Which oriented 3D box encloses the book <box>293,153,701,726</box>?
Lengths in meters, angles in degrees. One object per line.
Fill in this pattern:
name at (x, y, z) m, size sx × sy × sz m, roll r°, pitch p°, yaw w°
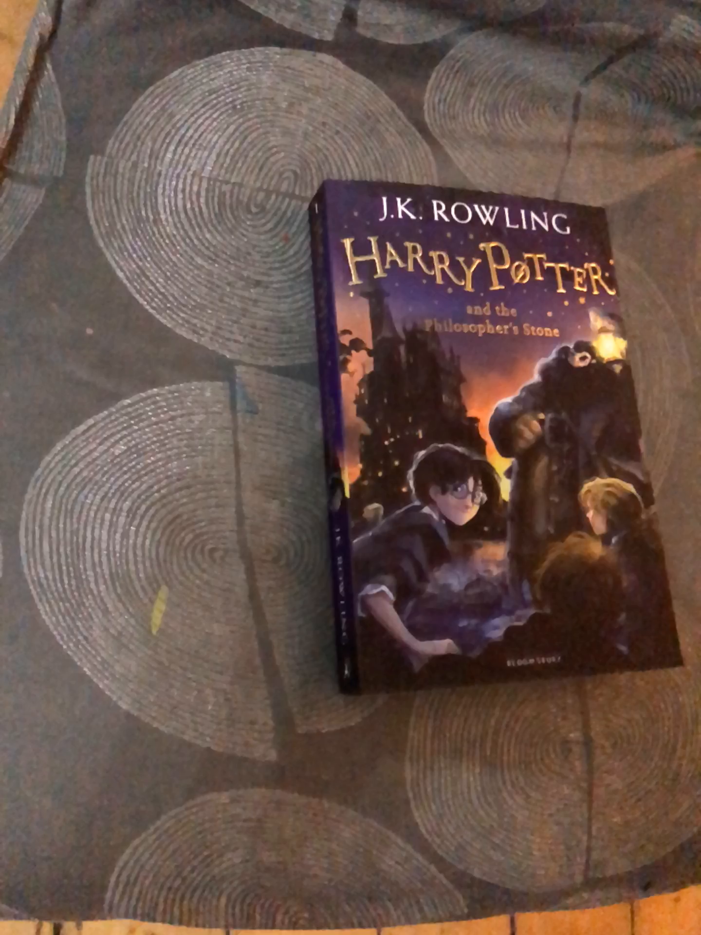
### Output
book at (0.057, -0.014, 0.319) m, size 0.140 × 0.040 × 0.210 m, roll 0°, pitch 76°, yaw -23°
